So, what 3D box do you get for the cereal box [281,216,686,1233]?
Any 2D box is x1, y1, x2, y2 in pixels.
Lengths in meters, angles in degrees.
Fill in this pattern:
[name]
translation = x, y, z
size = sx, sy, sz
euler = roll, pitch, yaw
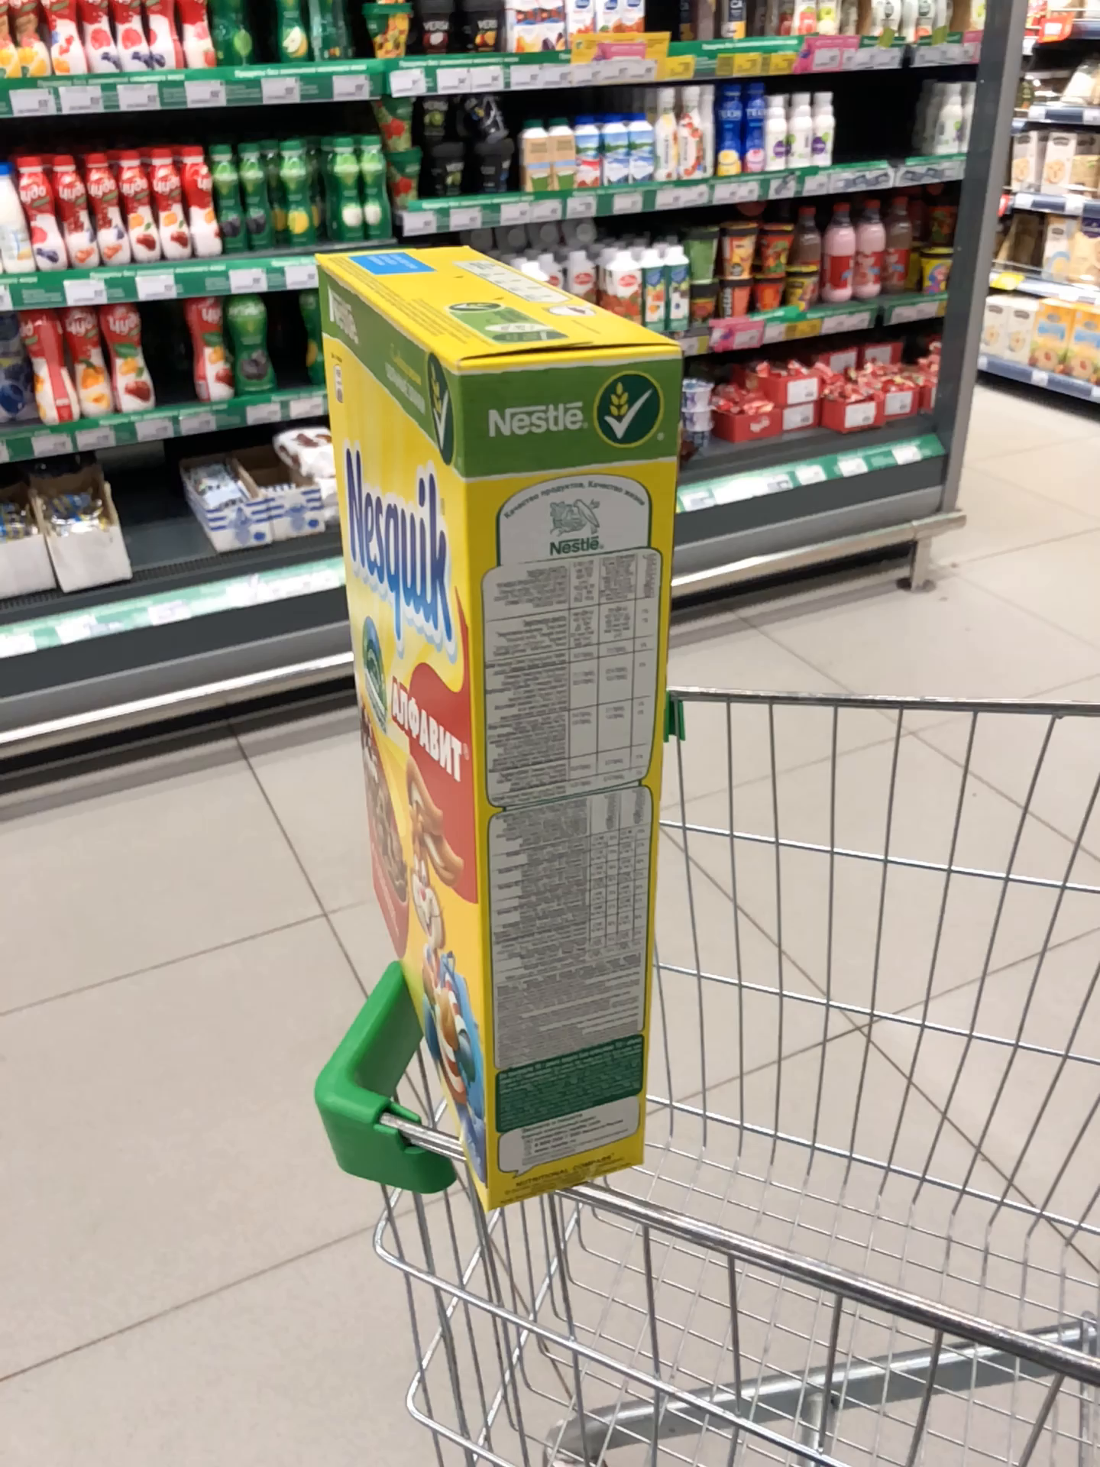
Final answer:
[cereal box]
translation = -0.031, -0.012, 0.422
size = 0.060, 0.288, 0.201
euler = -10, 31, -18
